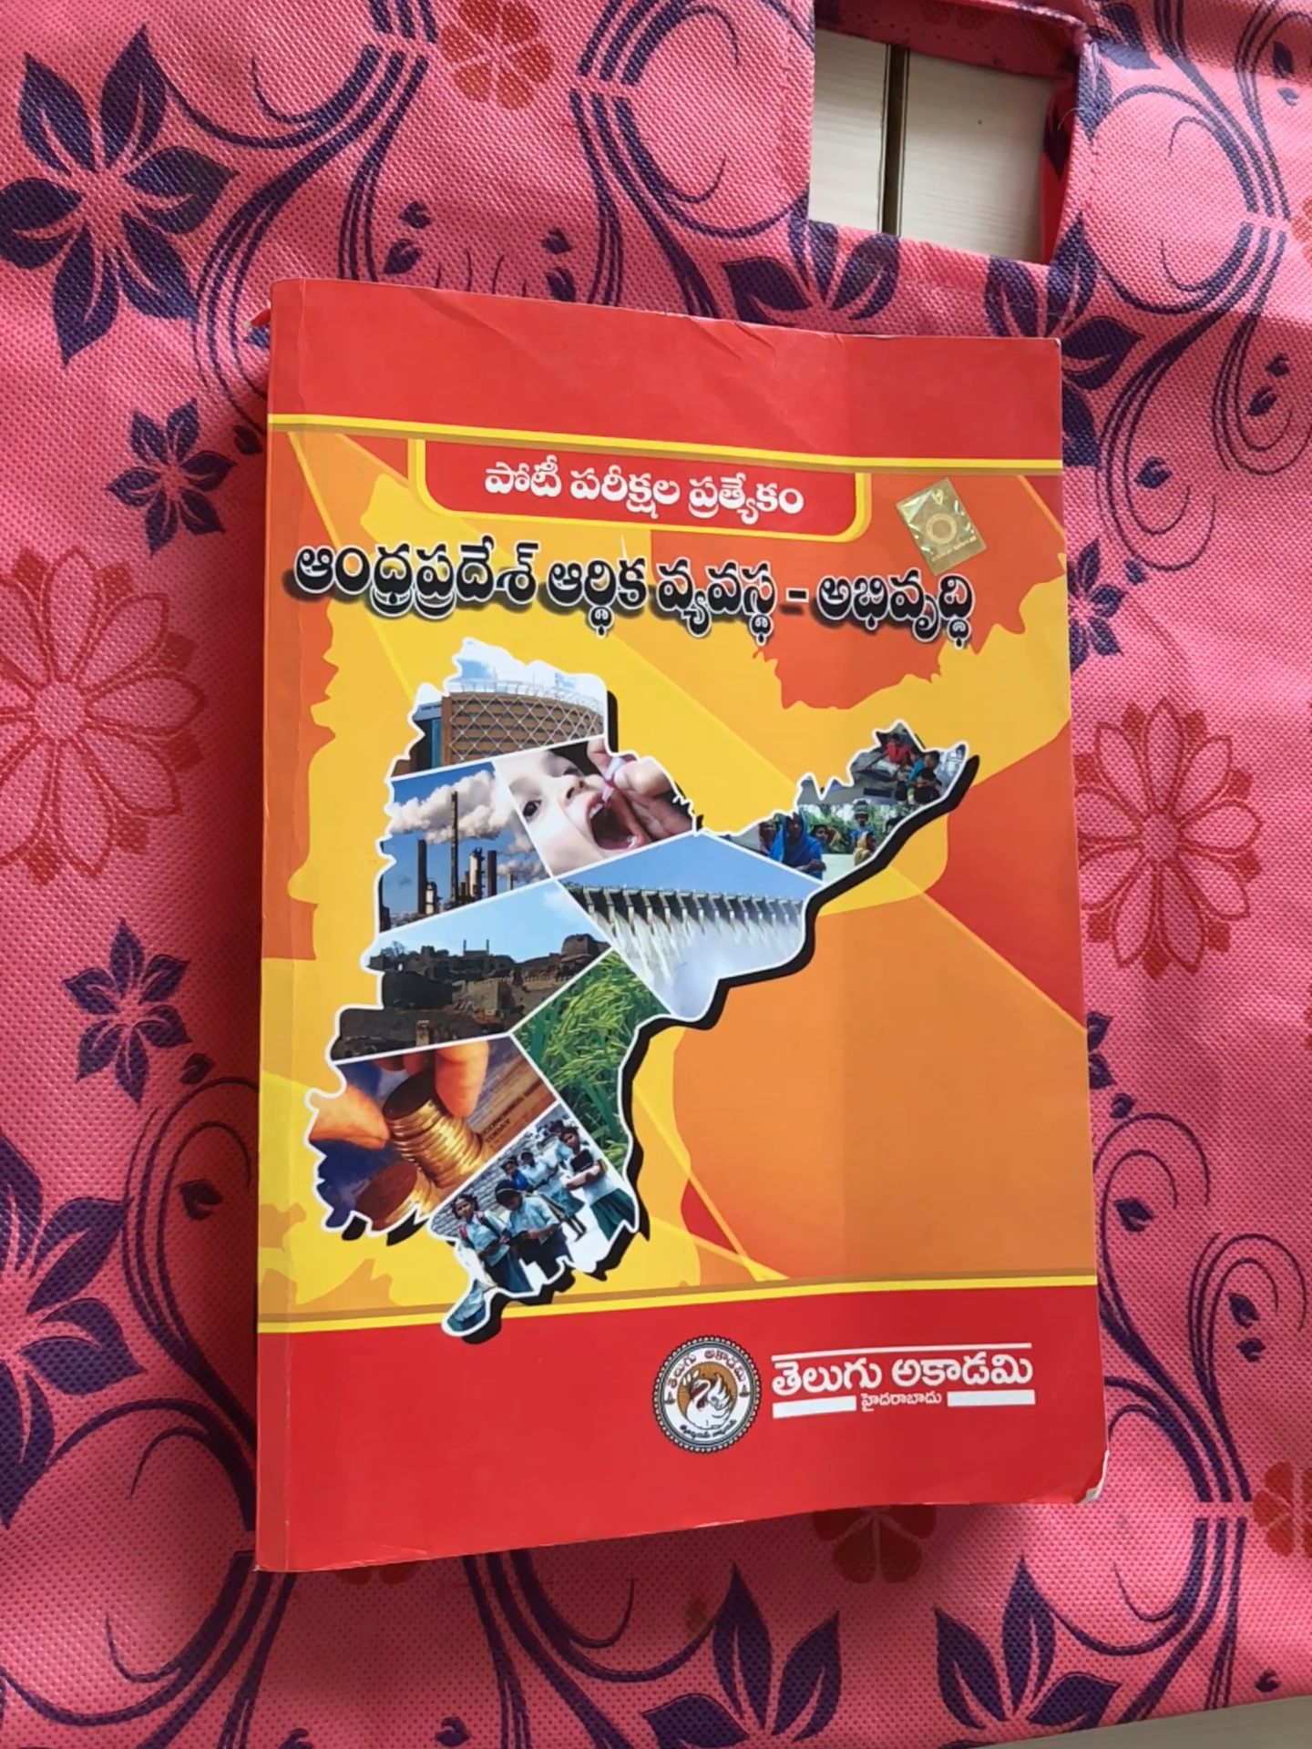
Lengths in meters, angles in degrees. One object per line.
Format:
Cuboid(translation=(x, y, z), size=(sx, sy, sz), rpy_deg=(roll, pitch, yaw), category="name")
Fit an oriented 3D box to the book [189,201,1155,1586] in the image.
Cuboid(translation=(0.005, 0.004, 0.327), size=(0.200, 0.060, 0.260), rpy_deg=(1, 87, -14), category="book")
